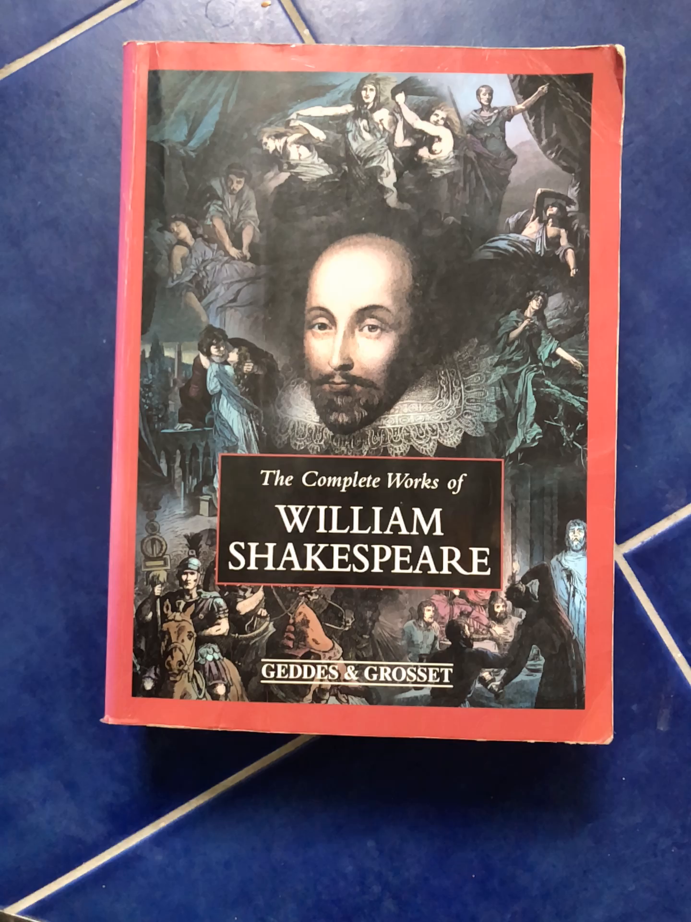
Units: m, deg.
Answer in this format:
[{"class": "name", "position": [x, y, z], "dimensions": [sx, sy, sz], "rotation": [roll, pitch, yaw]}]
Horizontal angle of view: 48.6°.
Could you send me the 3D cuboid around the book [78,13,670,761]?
[{"class": "book", "position": [0.012, -0.029, 0.310], "dimensions": [0.210, 0.060, 0.270], "rotation": [1, 88, 1]}]
